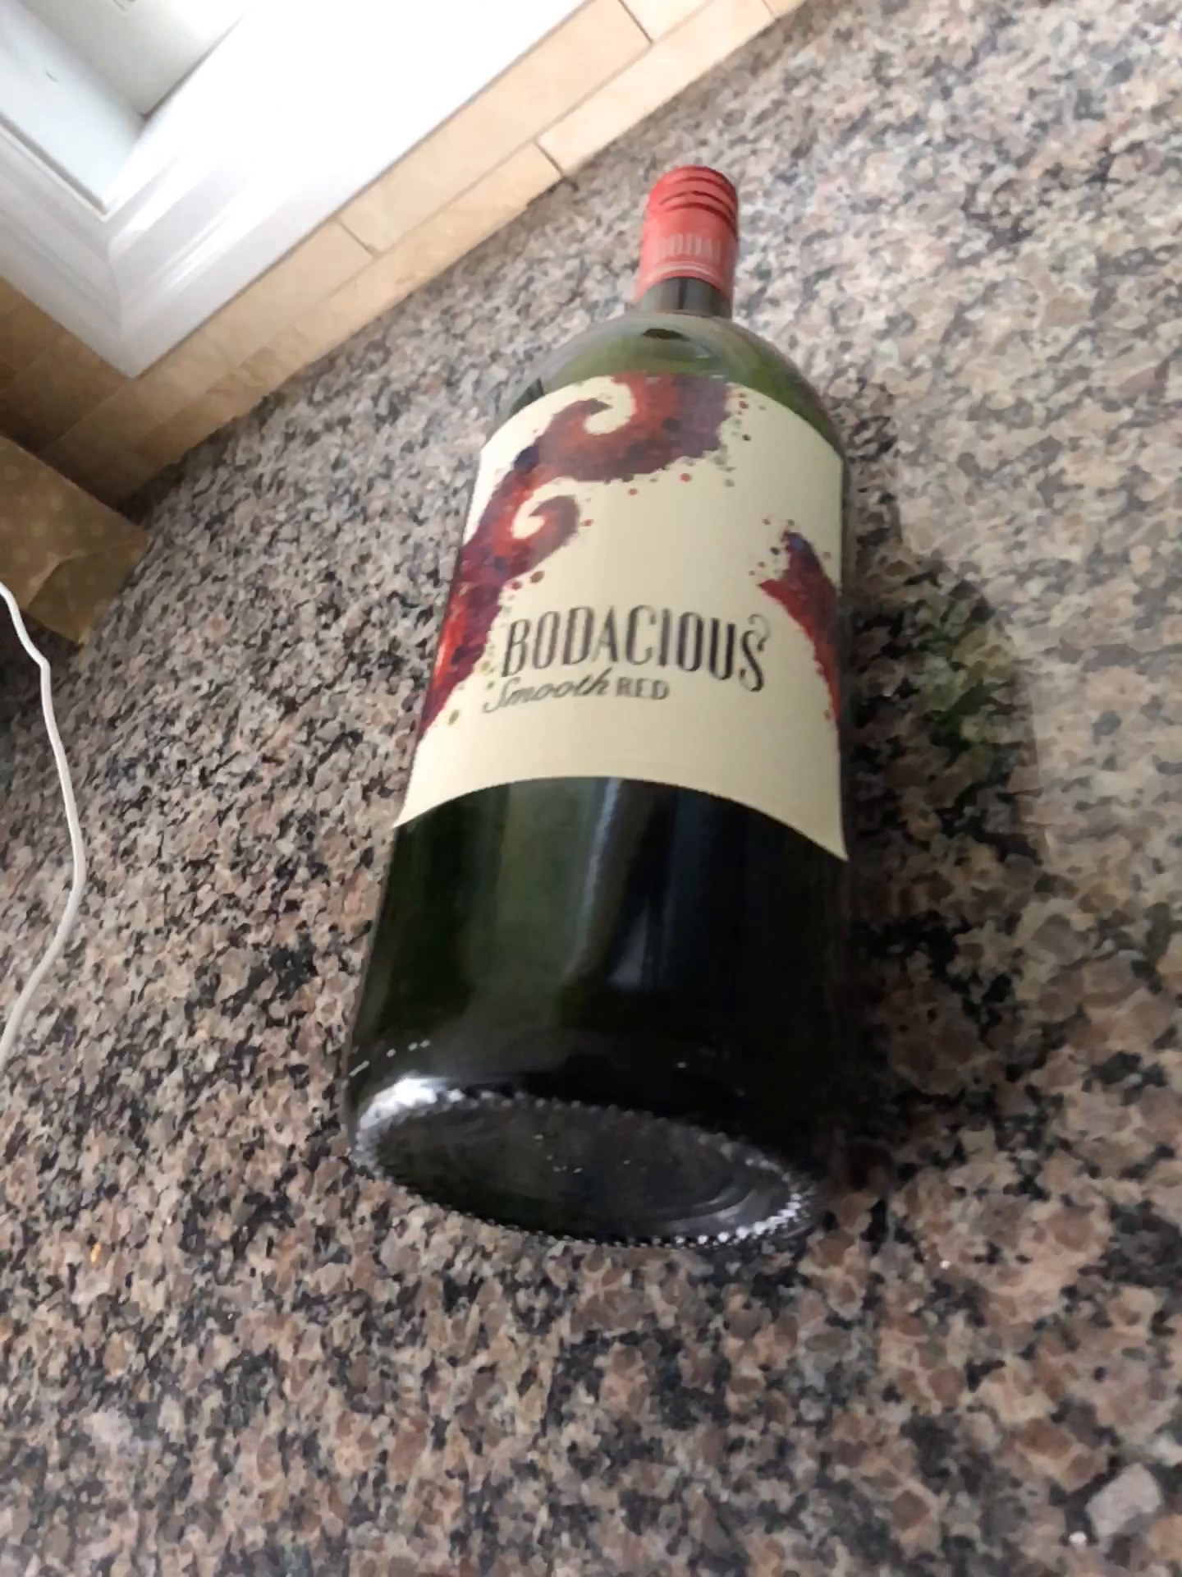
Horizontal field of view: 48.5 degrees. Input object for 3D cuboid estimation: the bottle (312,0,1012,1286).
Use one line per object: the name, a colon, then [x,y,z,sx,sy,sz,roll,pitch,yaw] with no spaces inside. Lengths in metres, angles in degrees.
bottle: [0.022,-0.067,0.340,0.100,0.110,0.340,111,169,-56]
